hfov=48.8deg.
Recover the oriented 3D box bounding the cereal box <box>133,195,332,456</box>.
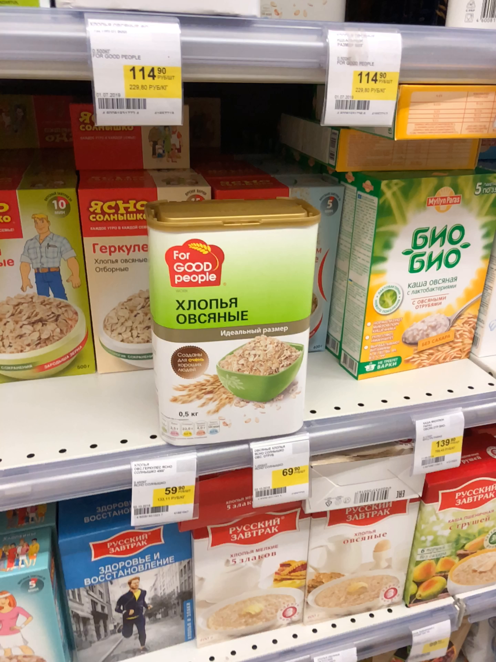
[{"bbox_3d":[-0.018,-0.008,0.460,0.140,0.189,0.090,-4,25,-10],"label":"cereal box"}]
